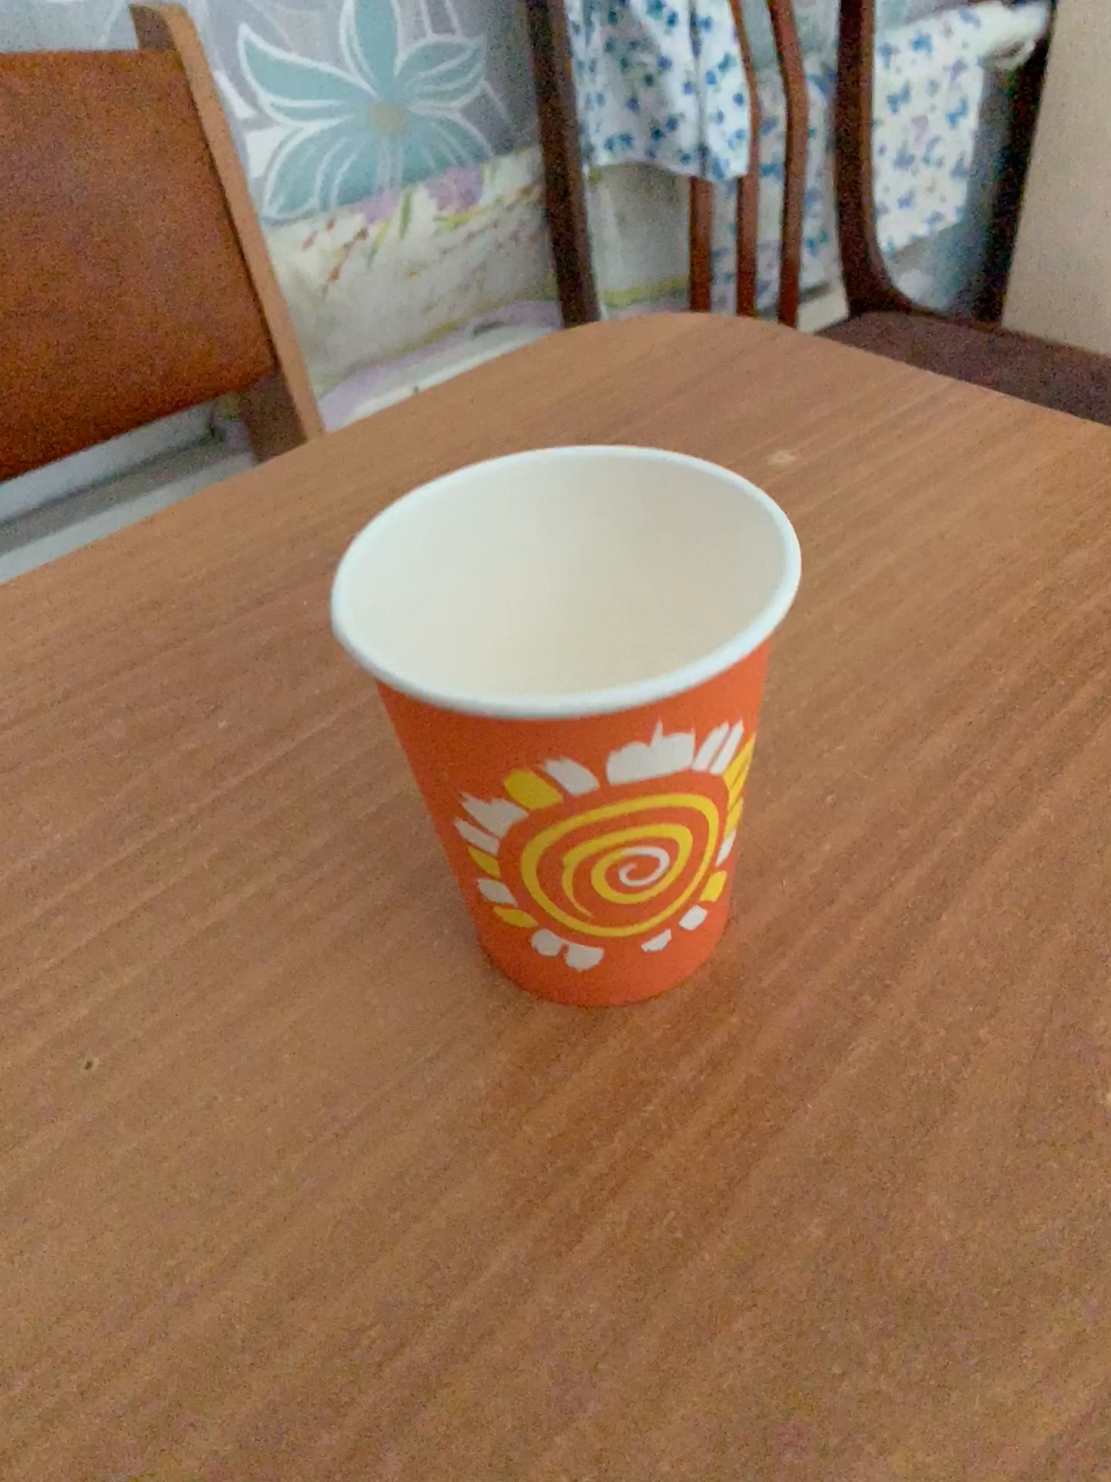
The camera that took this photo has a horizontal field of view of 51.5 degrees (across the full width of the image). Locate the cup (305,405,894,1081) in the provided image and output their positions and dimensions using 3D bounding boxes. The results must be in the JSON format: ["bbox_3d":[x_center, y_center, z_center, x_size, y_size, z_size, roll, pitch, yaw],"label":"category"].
[{"bbox_3d":[0.005,-0.002,0.221,0.081,0.083,0.079,-4,42,3],"label":"cup"}]
